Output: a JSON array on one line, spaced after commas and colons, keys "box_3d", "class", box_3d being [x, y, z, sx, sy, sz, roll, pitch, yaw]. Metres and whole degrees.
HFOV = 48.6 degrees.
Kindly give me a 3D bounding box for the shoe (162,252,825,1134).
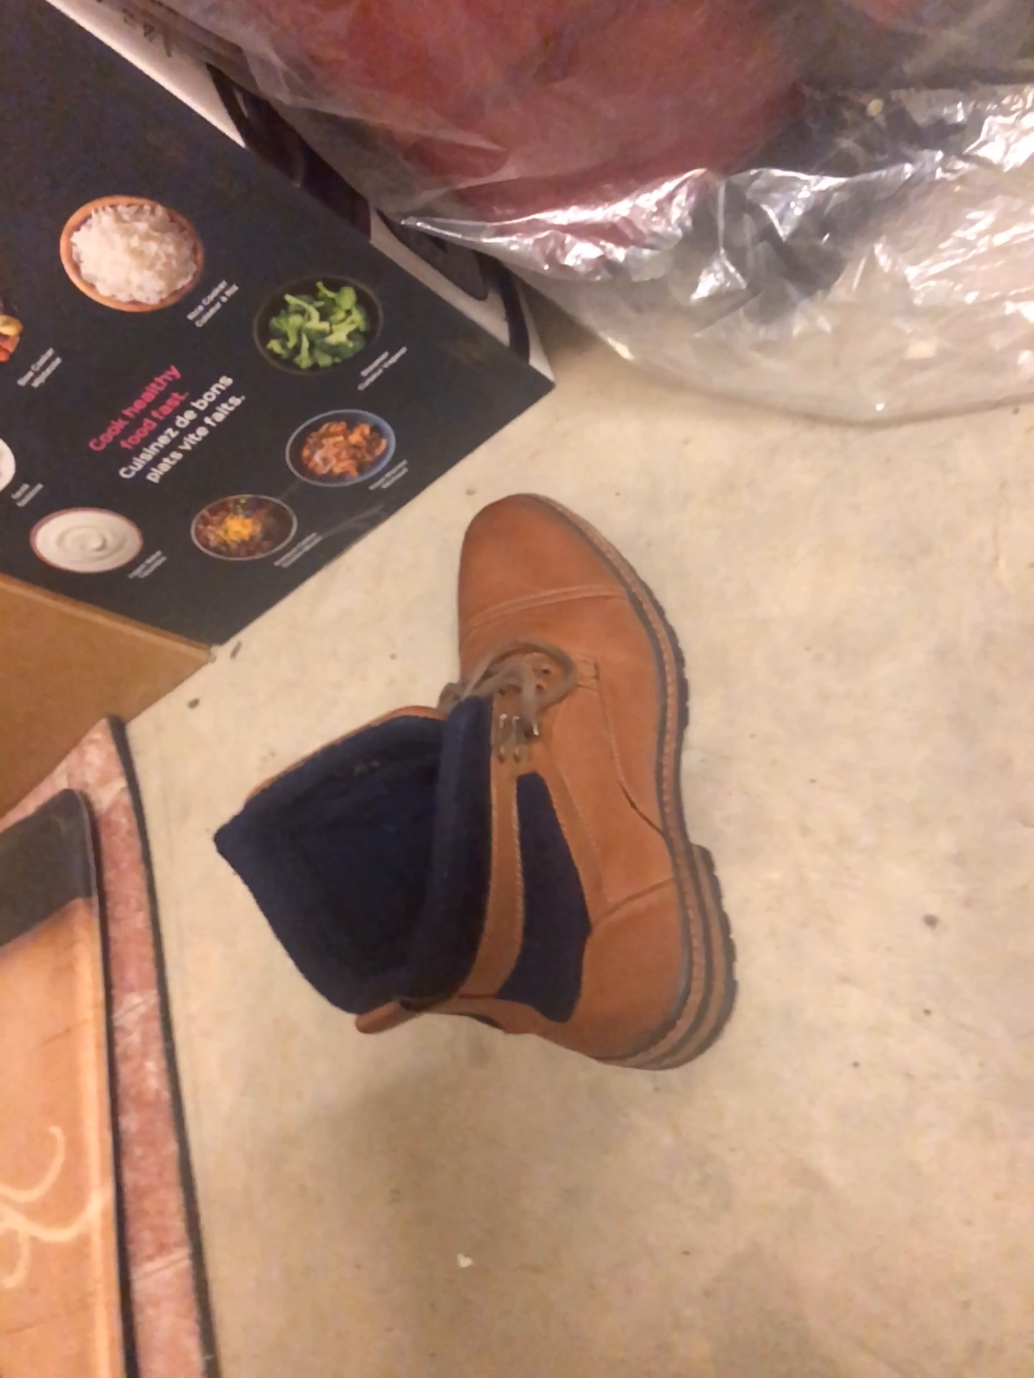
[{"box_3d": [-0.018, 0.013, 0.488, 0.132, 0.201, 0.303, -29, 58, 28], "class": "shoe"}]
